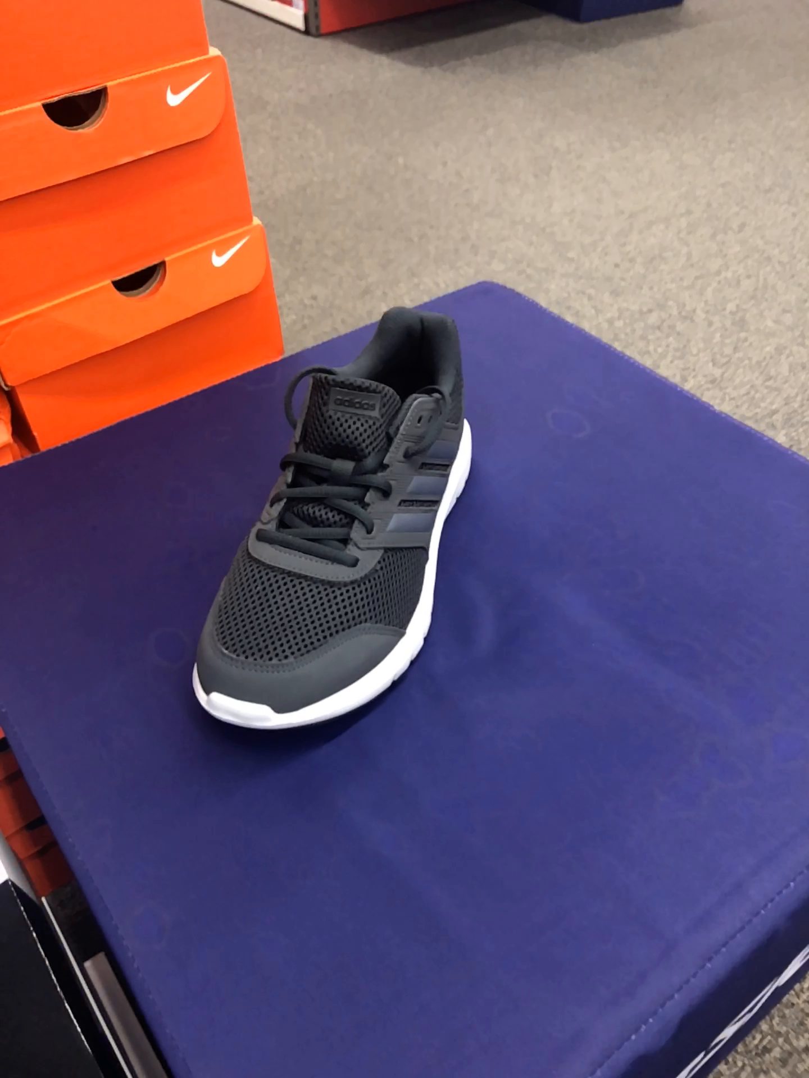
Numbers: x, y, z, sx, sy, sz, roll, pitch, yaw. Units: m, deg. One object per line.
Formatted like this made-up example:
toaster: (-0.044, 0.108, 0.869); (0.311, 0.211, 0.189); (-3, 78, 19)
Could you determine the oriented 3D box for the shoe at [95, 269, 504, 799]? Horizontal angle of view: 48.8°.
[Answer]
shoe: (-0.030, -0.025, 0.471); (0.101, 0.106, 0.282); (11, 44, 13)
